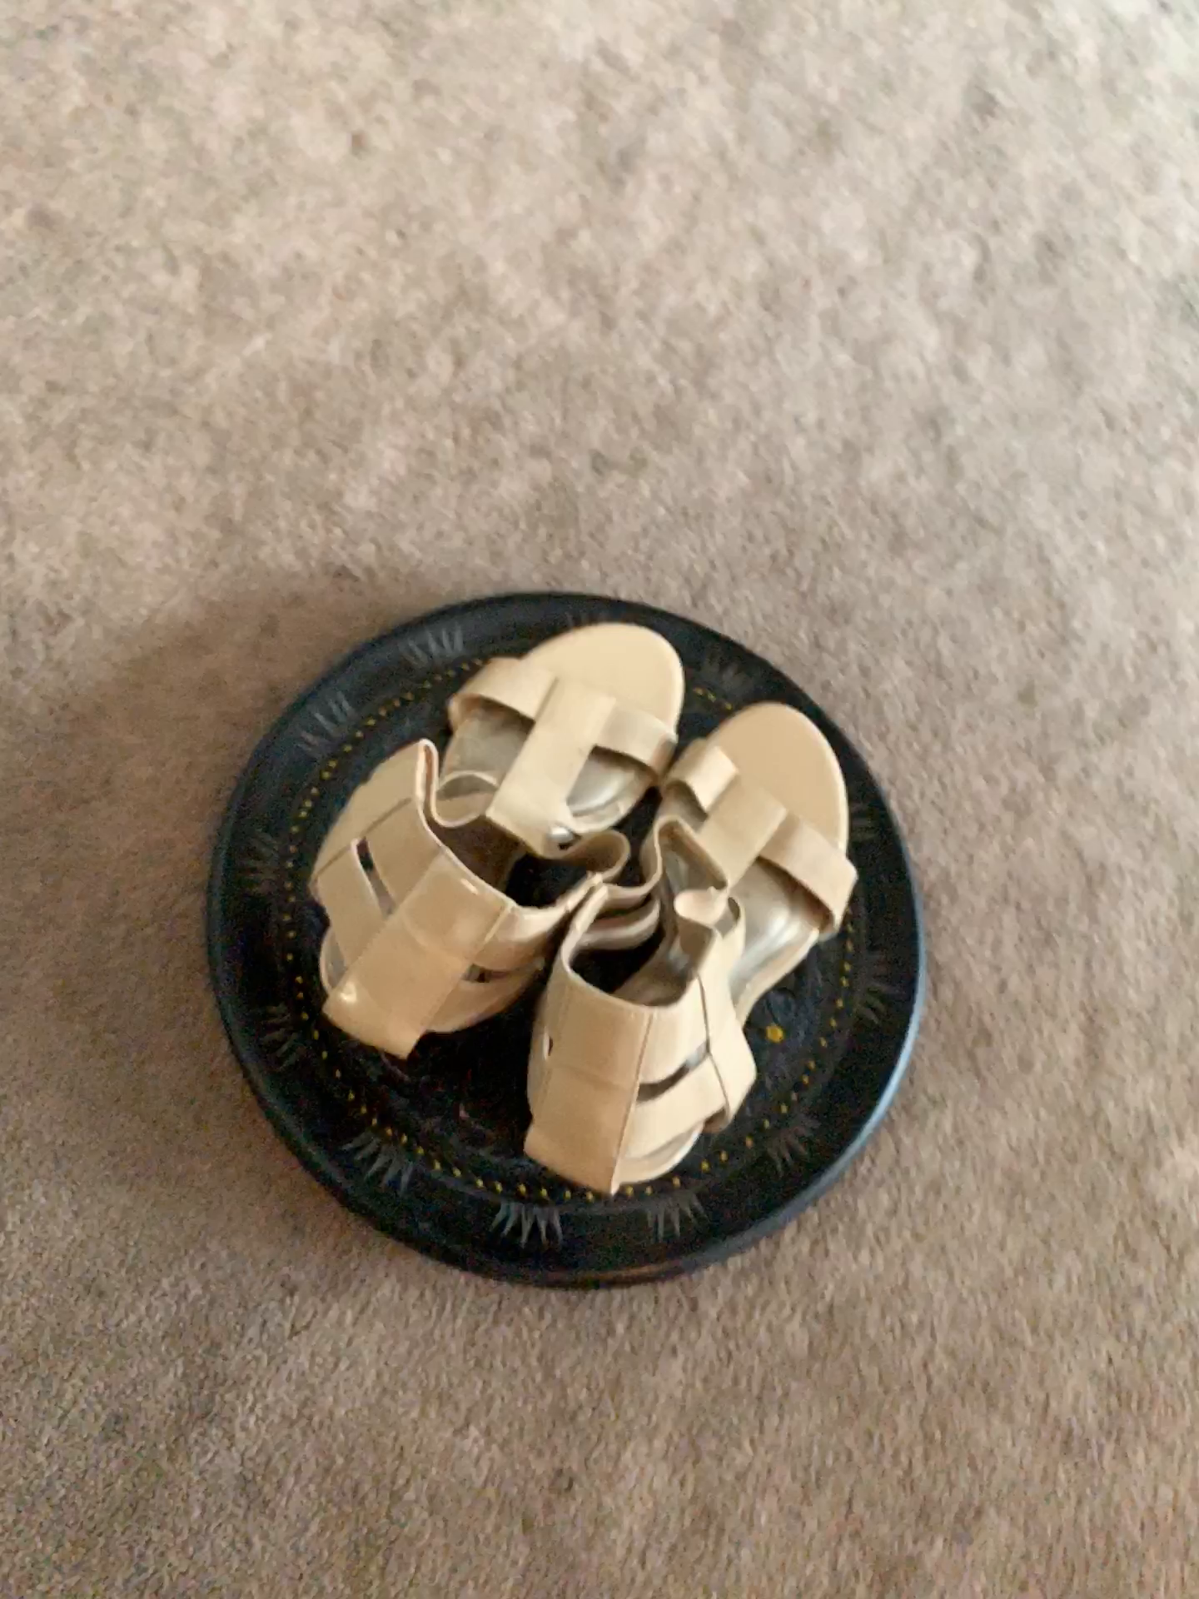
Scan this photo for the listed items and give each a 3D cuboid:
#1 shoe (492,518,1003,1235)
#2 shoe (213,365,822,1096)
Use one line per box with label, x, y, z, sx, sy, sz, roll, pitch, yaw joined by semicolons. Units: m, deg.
shoe;0.053;0.027;0.447;0.090;0.099;0.221;25;65;2
shoe;-0.023;-0.026;0.442;0.100;0.099;0.221;28;65;4
